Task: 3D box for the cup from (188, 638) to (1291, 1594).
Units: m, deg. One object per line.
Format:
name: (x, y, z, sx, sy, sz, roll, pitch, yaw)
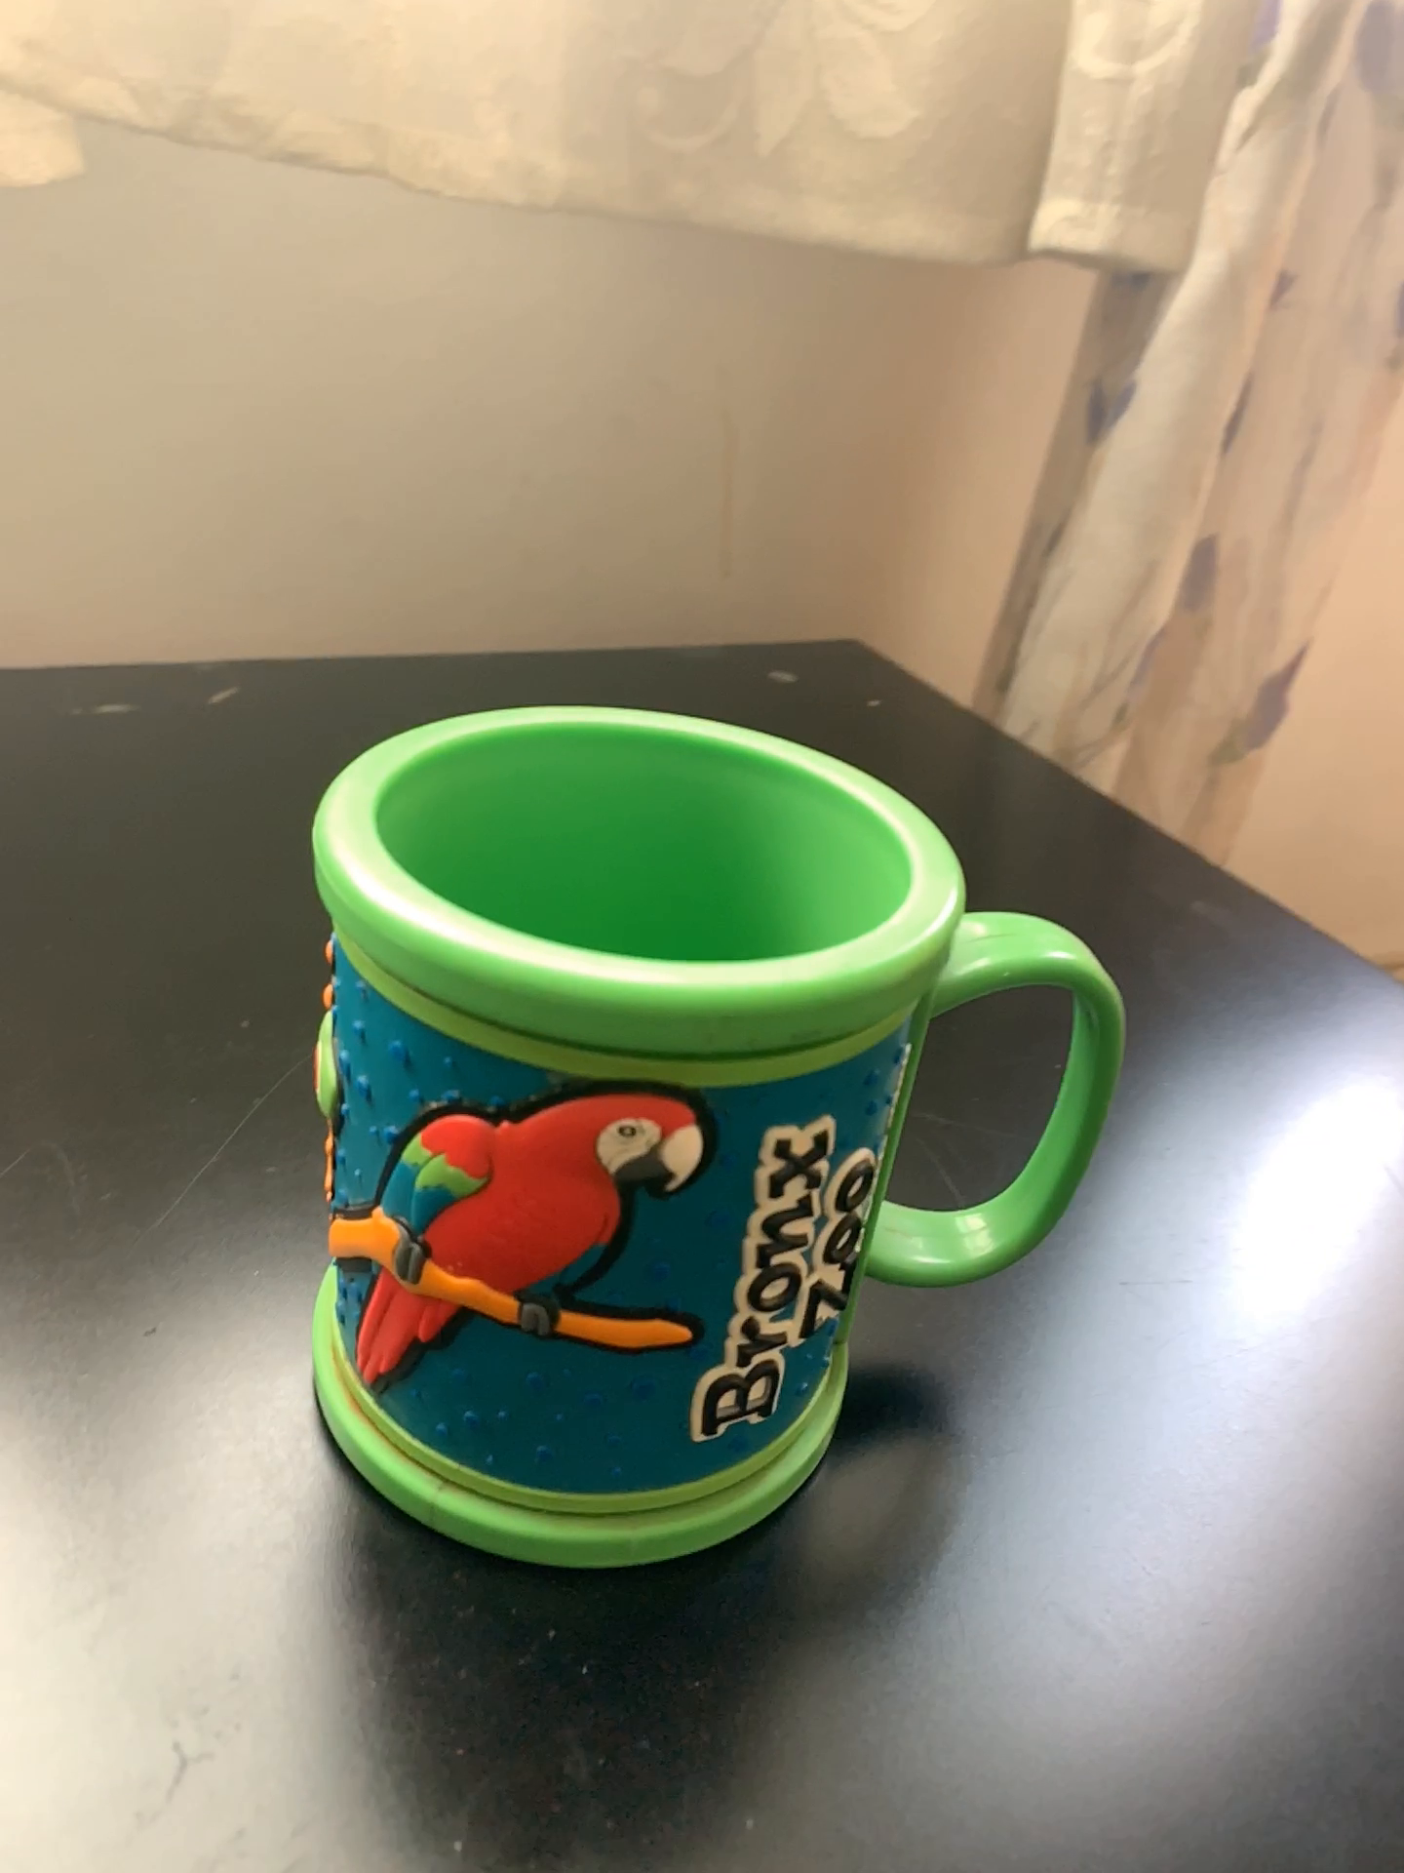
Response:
cup: (-0.005, 0.022, 0.211, 0.120, 0.099, 0.081, 1, 29, -13)
